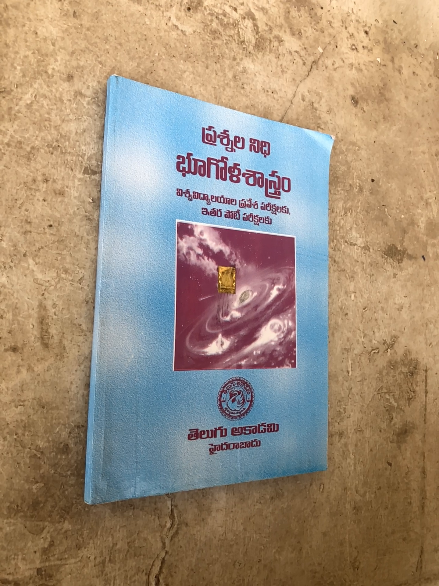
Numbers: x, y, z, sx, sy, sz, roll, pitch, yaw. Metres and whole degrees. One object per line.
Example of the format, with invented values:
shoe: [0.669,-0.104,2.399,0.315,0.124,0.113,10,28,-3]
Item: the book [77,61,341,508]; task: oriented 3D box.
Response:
book: [0.001,-0.005,0.356,0.191,0.040,0.270,3,84,-29]
